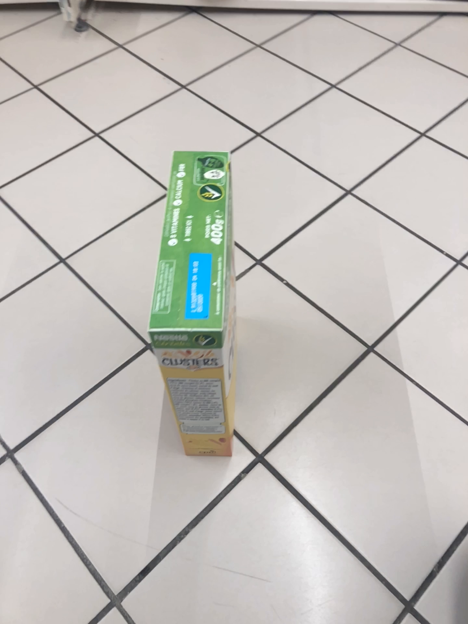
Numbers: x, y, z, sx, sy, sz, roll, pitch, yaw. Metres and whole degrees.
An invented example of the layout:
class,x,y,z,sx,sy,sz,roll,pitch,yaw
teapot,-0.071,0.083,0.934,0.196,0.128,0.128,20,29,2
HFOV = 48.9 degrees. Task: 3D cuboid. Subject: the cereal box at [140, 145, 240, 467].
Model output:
class,x,y,z,sx,sy,sz,roll,pitch,yaw
cereal box,-0.028,0.010,0.523,0.060,0.269,0.211,1,56,2
